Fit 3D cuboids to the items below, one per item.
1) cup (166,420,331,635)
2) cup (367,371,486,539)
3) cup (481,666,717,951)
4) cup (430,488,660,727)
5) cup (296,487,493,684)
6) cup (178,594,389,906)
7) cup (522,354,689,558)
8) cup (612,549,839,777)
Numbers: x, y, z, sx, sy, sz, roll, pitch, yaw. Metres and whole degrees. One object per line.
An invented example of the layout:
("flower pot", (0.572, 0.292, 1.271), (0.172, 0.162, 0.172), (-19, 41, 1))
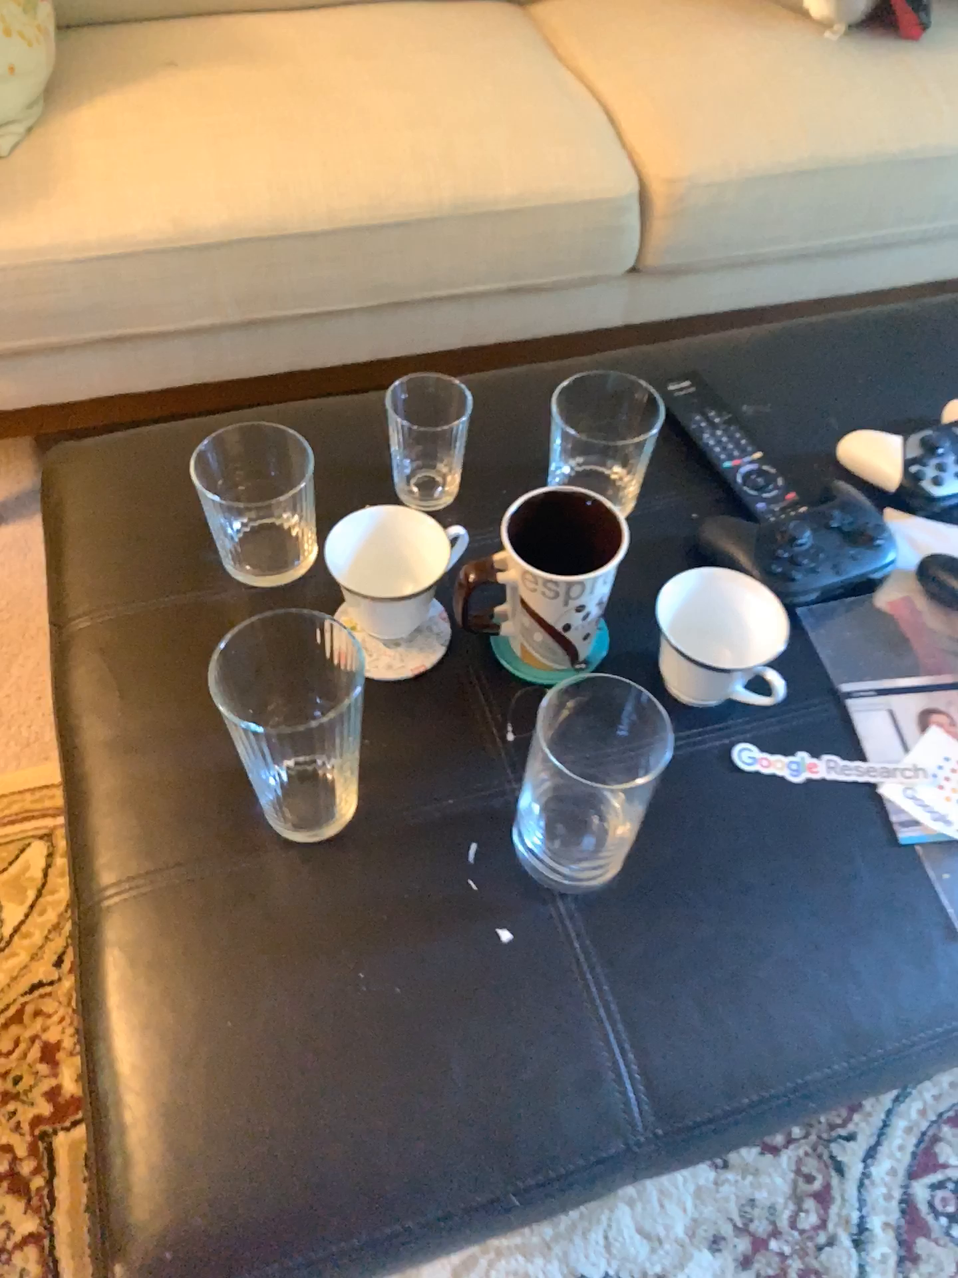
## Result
("cup", (-0.175, -0.085, 0.763), (0.090, 0.119, 0.090), (1, 53, -2))
("cup", (-0.043, -0.150, 0.811), (0.070, 0.100, 0.070), (1, 53, -2))
("cup", (0.063, 0.103, 0.584), (0.090, 0.139, 0.090), (1, 53, -2))
("cup", (0.040, -0.021, 0.703), (0.130, 0.119, 0.090), (-13, 55, -12))
("cup", (-0.061, -0.040, 0.710), (0.110, 0.070, 0.090), (-19, 57, -17))
("cup", (-0.116, 0.076, 0.621), (0.090, 0.189, 0.090), (1, 53, -2))
("cup", (0.099, -0.149, 0.813), (0.090, 0.119, 0.090), (1, 53, -2))
("cup", (0.171, 0.016, 0.698), (0.110, 0.080, 0.090), (35, 59, 21))
